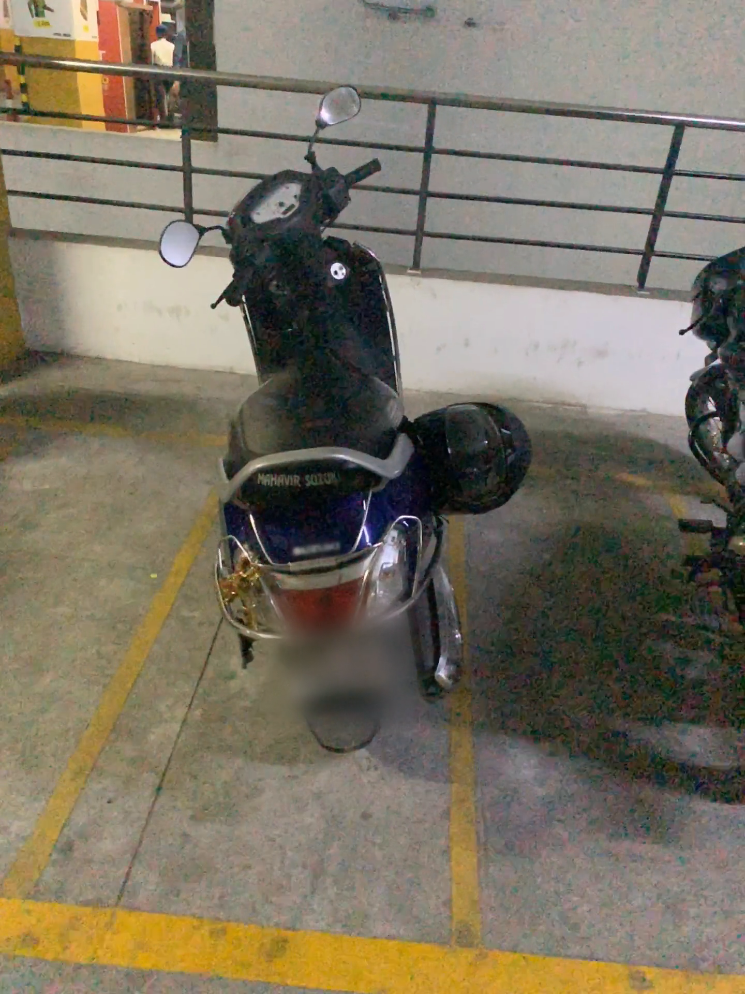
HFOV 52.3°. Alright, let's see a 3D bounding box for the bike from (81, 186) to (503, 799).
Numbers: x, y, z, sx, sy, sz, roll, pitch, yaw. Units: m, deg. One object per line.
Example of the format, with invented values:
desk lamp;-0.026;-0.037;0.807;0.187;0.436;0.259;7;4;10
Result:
bike;-0.262;-0.160;2.067;0.622;1.156;1.483;0;27;-9
